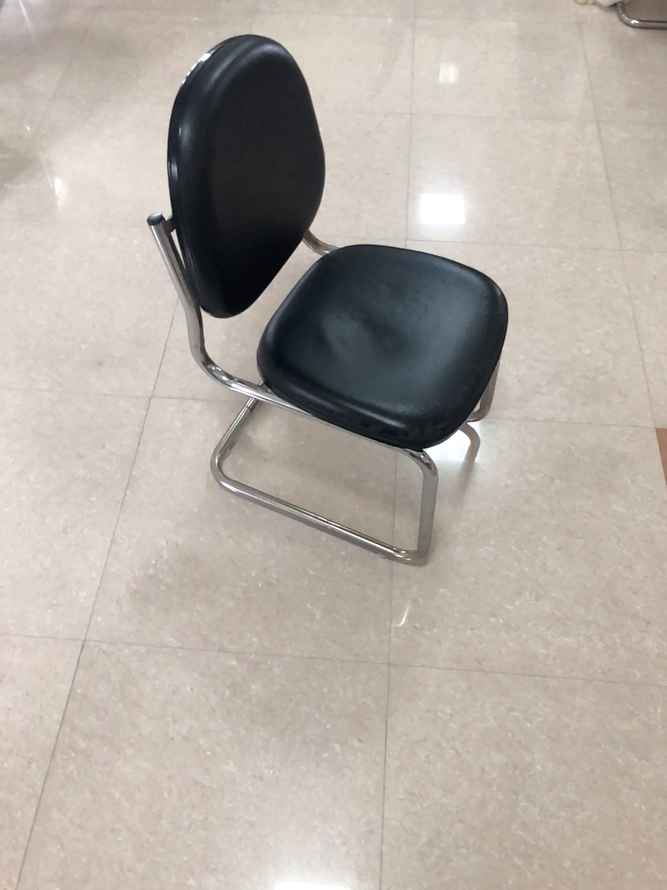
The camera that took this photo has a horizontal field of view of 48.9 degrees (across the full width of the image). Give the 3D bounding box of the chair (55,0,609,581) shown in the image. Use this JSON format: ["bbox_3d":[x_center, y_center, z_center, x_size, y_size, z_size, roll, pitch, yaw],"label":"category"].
[{"bbox_3d":[0.024,-0.232,1.300,0.590,0.758,0.501,20,59,13],"label":"chair"}]
